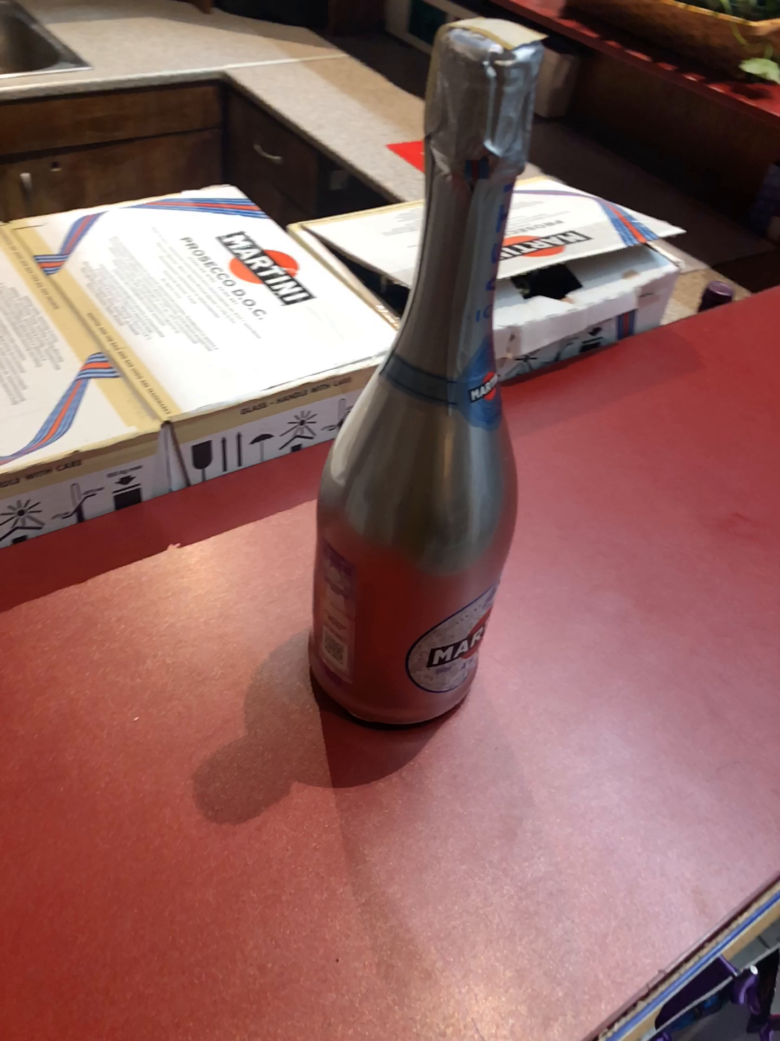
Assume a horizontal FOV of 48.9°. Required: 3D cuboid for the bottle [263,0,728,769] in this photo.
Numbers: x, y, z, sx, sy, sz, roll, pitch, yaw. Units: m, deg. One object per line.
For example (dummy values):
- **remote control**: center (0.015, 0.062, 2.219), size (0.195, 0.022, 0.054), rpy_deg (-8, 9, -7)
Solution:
- **bottle**: center (0.020, -0.039, 0.354), size (0.100, 0.298, 0.101), rpy_deg (4, 44, -4)
